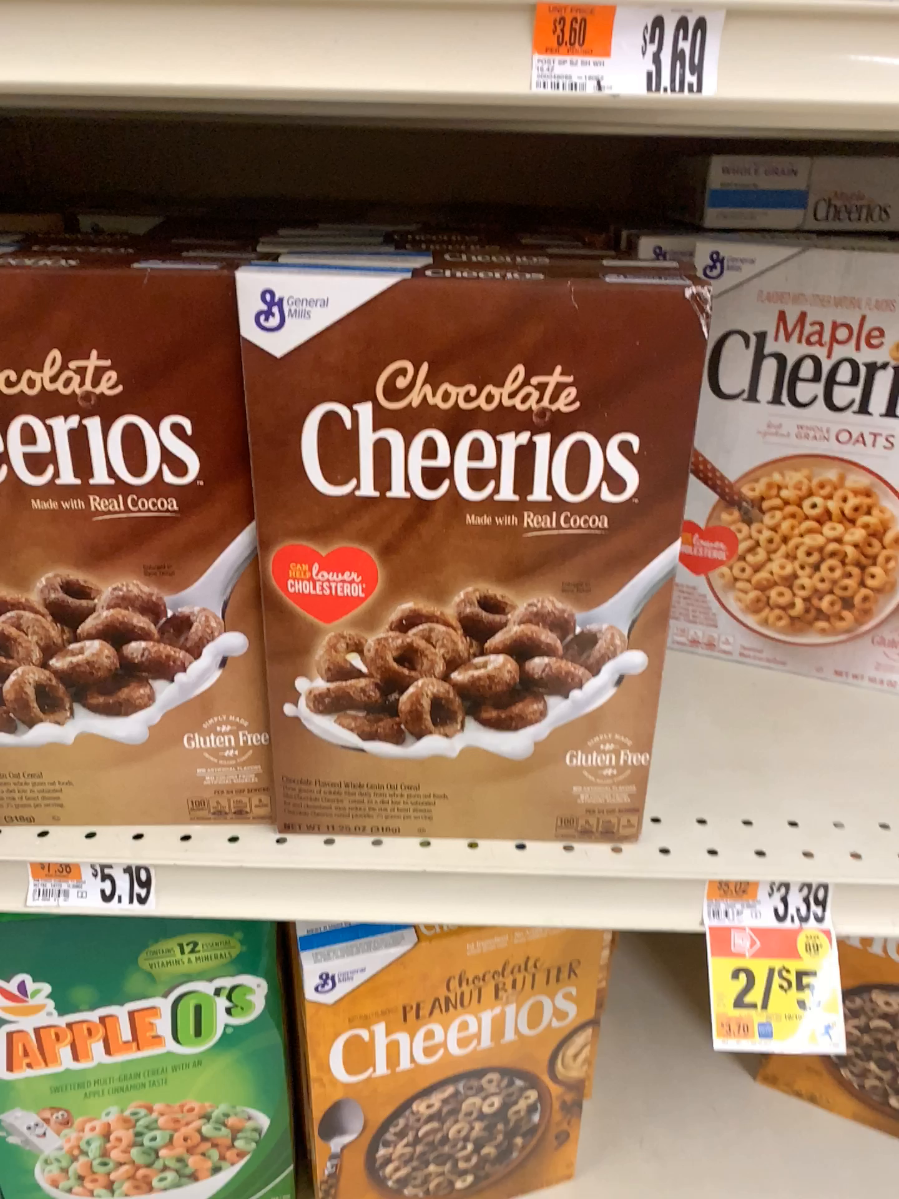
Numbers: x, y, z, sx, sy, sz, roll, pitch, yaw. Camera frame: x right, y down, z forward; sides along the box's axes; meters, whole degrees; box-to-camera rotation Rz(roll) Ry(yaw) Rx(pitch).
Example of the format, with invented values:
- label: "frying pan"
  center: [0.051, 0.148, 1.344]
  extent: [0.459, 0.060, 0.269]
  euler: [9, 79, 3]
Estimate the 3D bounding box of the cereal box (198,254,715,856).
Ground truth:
- label: "cereal box"
  center: [0.000, -0.010, 0.467]
  extent: [0.210, 0.298, 0.060]
  euler: [2, 27, 1]
